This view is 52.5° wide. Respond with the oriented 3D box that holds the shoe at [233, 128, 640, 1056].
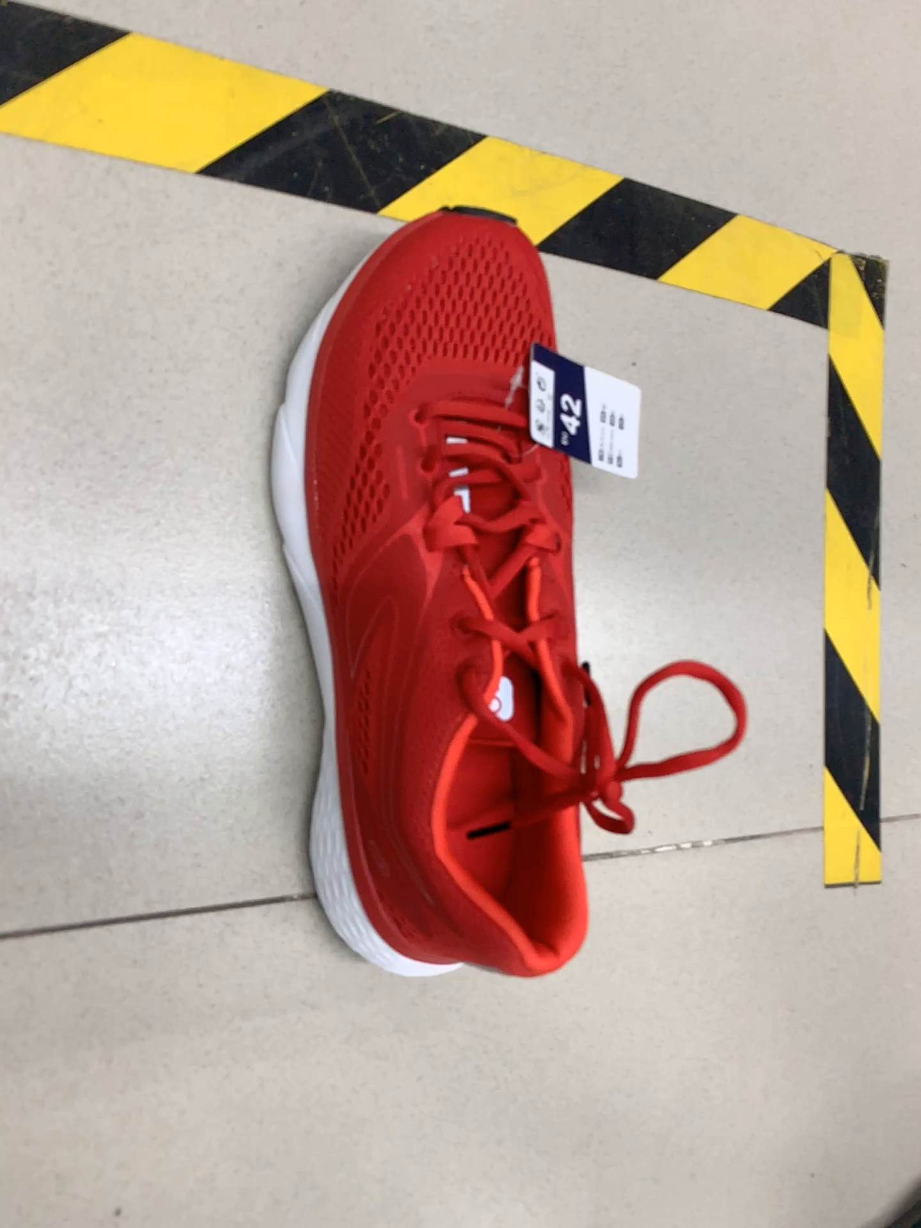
[{"bbox_3d":[-0.010,-0.006,0.350,0.120,0.090,0.280,2,88,-29],"label":"shoe"}]
